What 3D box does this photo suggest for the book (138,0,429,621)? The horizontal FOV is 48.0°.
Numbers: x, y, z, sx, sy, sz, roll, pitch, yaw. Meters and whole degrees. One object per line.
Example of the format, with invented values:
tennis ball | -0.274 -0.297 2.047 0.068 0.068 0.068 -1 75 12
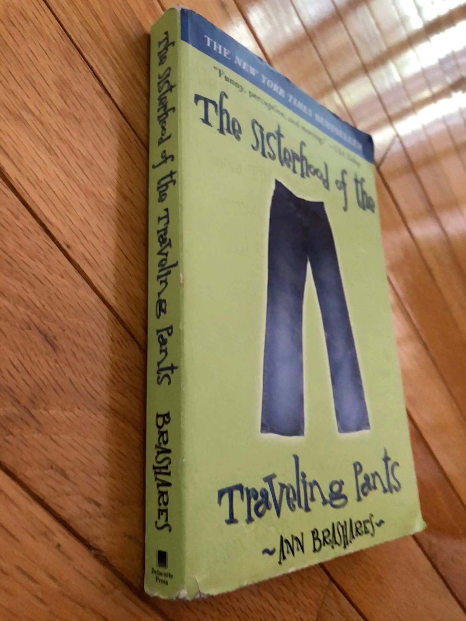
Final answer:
book | 0.026 -0.004 0.224 0.142 0.025 0.209 12 69 -45
